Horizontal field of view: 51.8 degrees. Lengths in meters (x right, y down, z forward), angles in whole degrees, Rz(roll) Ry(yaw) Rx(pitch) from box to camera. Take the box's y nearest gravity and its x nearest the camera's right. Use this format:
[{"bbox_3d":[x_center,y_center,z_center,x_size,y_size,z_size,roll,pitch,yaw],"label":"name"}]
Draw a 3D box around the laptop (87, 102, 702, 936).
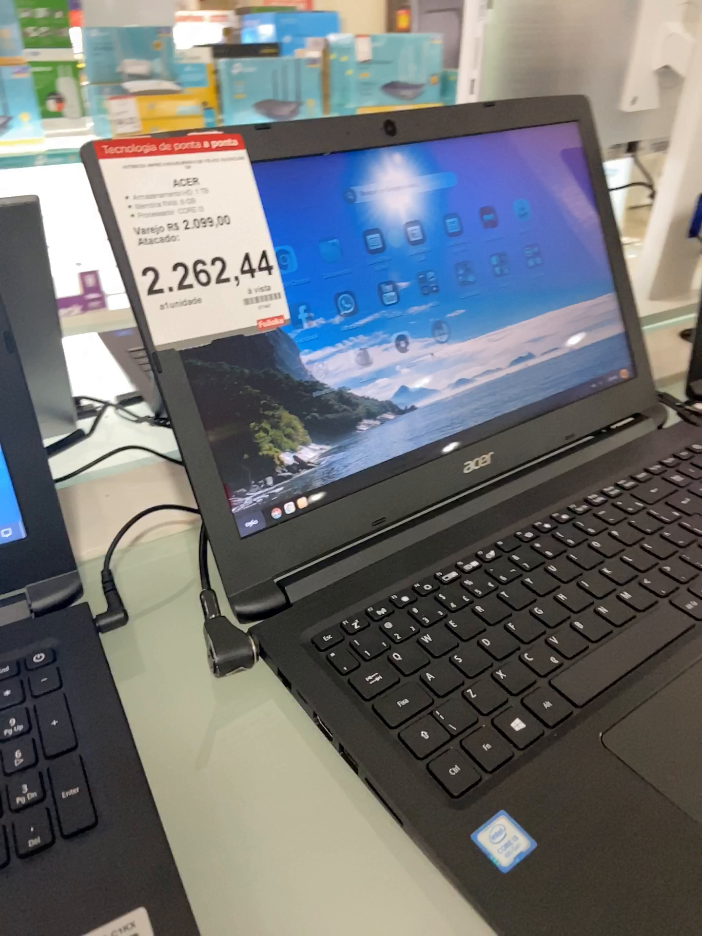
[{"bbox_3d":[0.137,-0.050,0.382,0.390,0.226,0.376,-20,35,-29],"label":"laptop"}]
